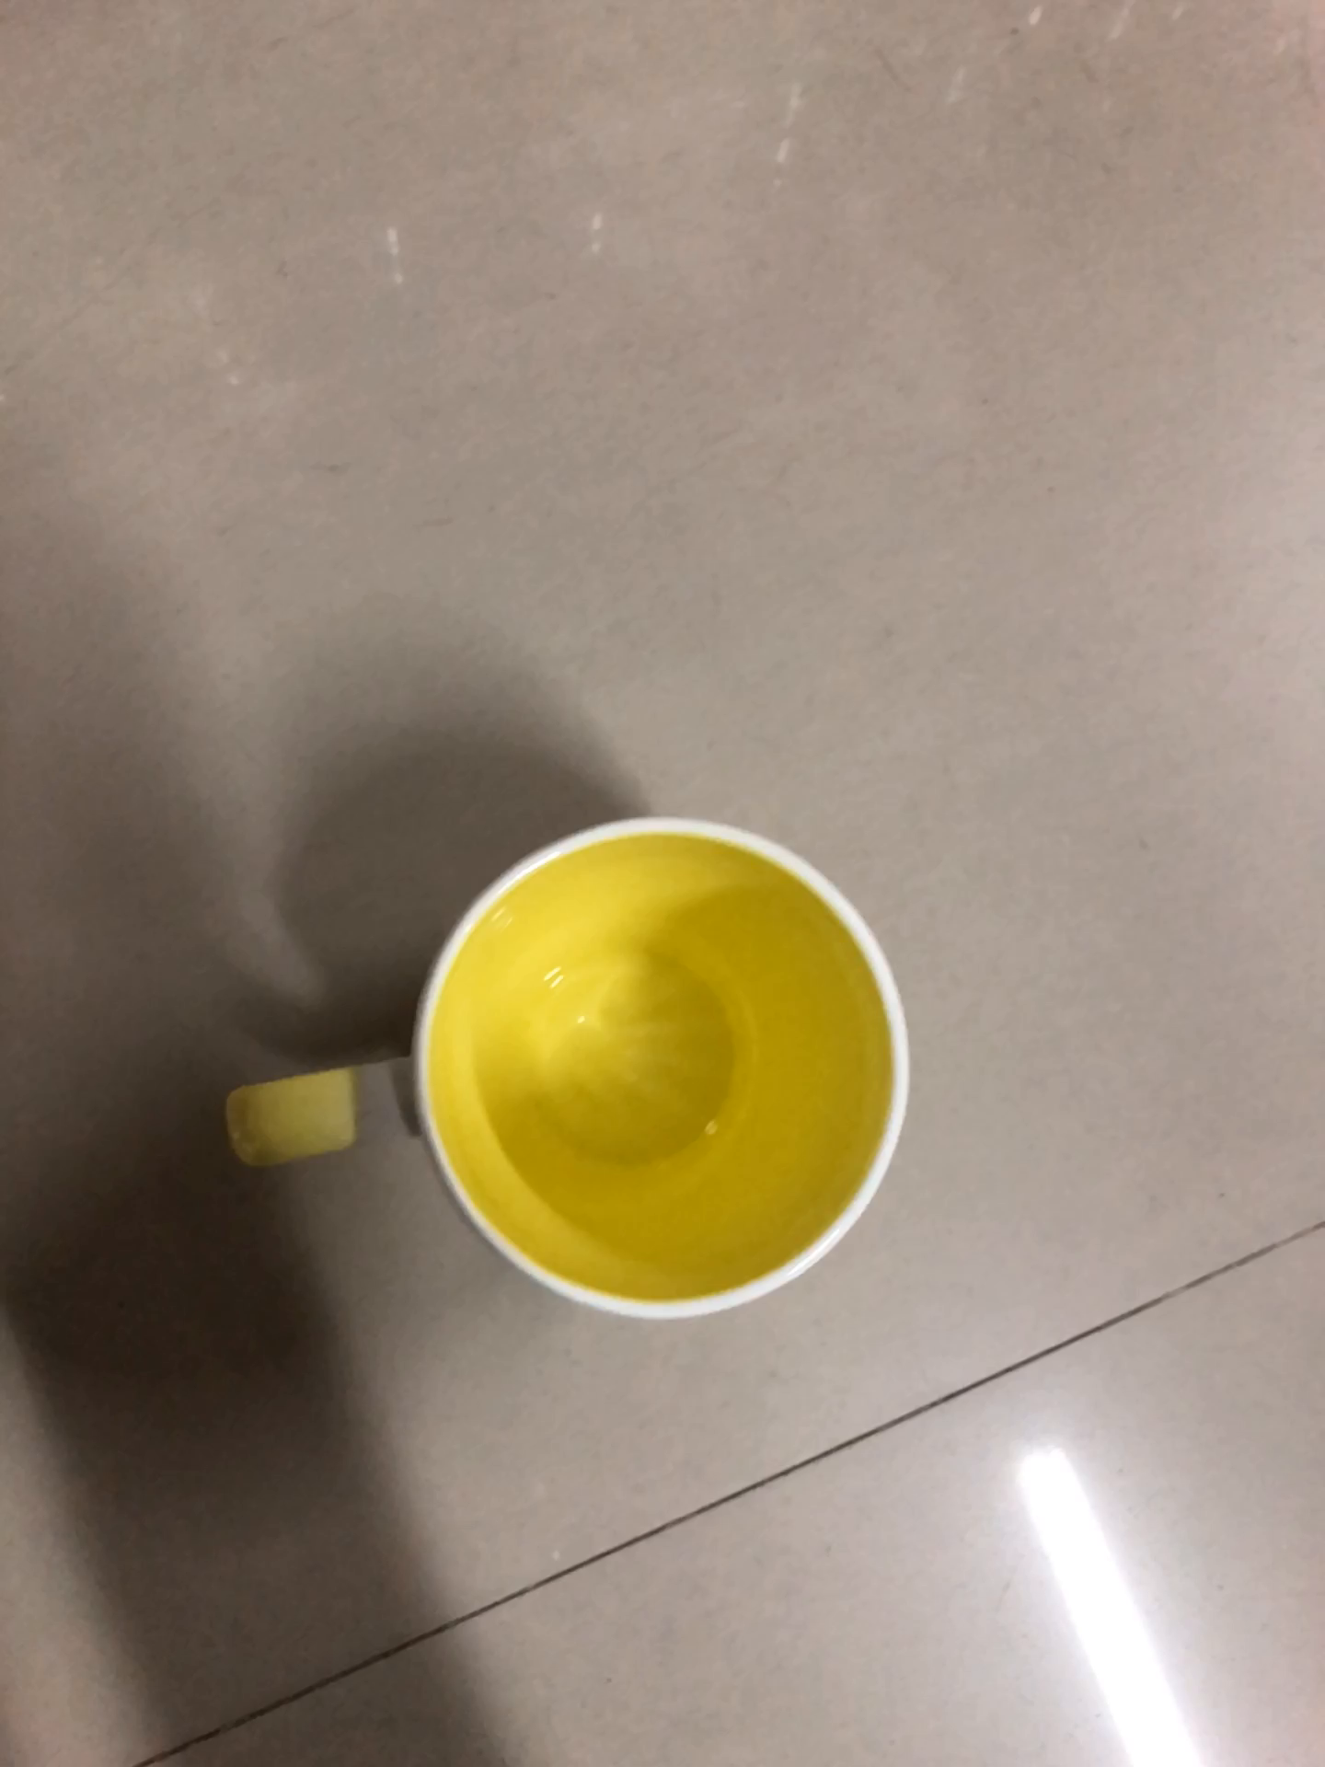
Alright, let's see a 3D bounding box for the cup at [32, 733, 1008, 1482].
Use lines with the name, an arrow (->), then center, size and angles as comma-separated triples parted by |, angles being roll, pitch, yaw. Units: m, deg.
cup -> -0.022, 0.033, 0.239 | 0.120, 0.080, 0.080 | -10, 83, -5
